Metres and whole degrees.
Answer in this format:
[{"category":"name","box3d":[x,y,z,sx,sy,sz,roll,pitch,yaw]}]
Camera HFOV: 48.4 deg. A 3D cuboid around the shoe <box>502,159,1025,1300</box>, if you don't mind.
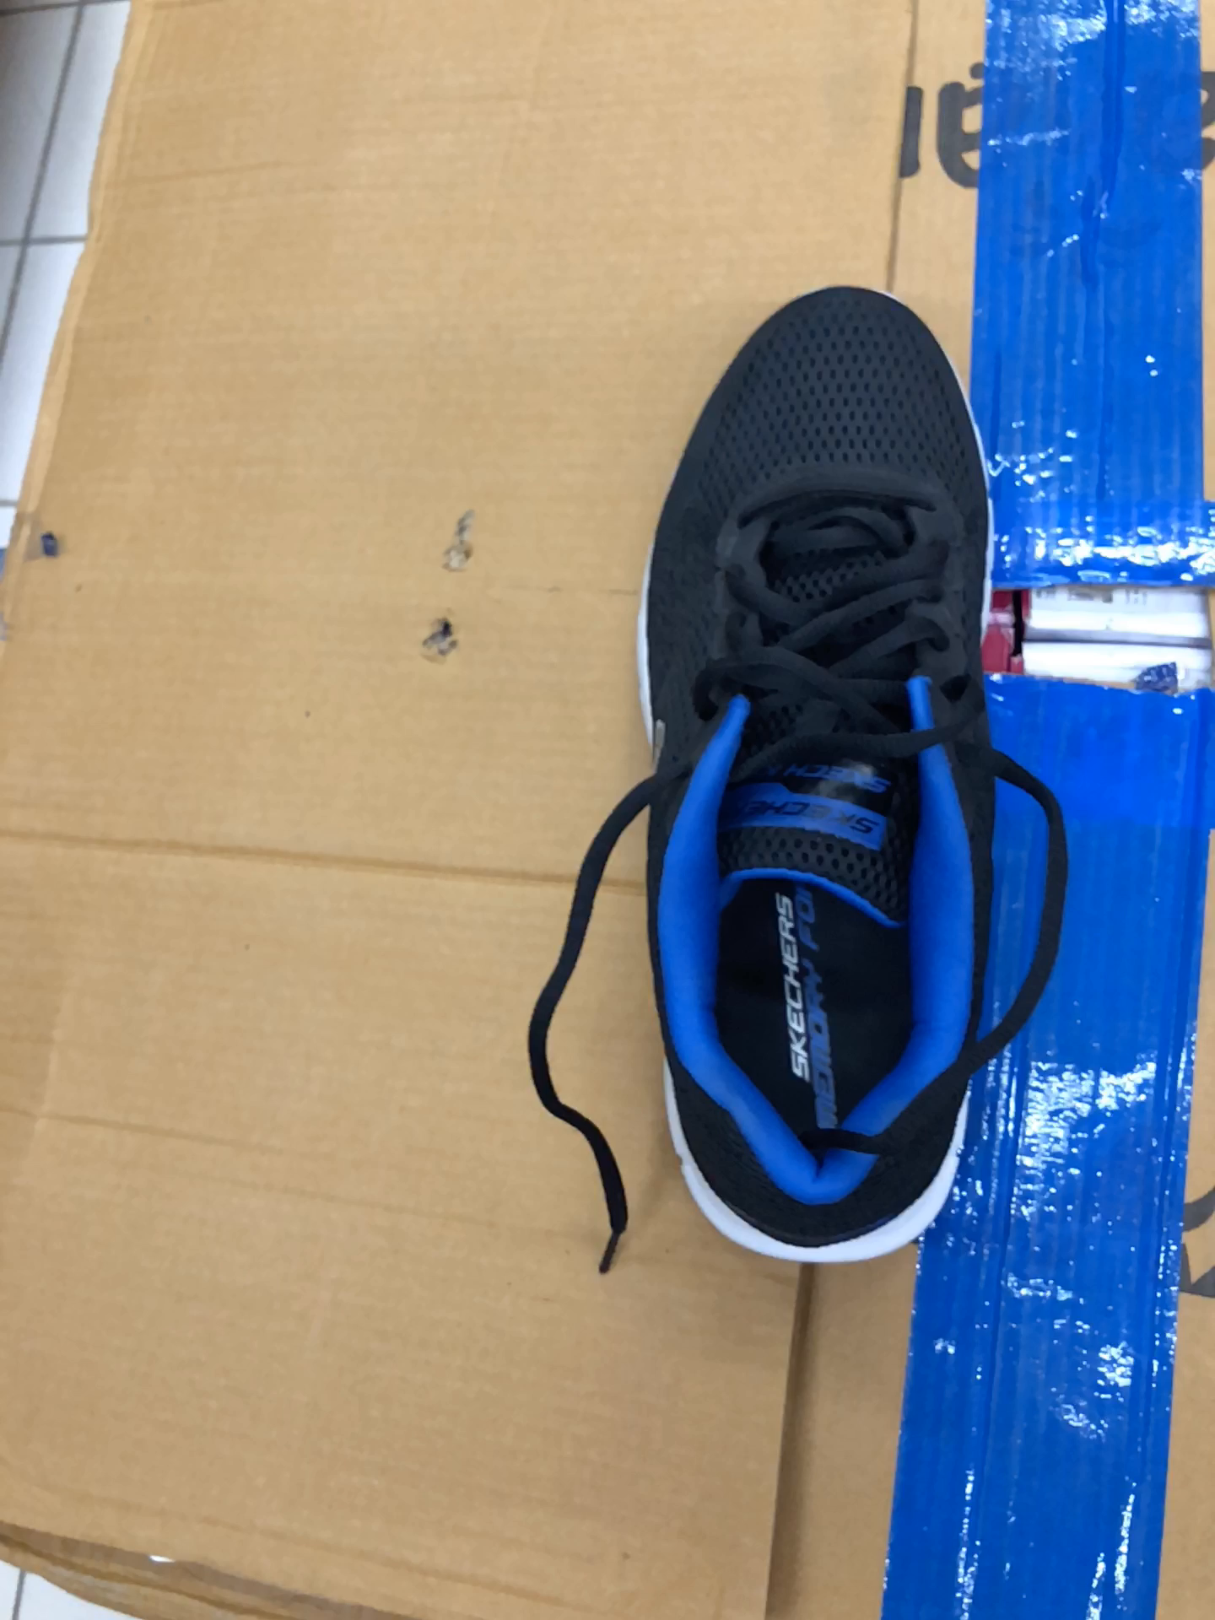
[{"category":"shoe","box3d":[0.056,-0.017,0.382,0.110,0.130,0.270,1,77,15]}]
